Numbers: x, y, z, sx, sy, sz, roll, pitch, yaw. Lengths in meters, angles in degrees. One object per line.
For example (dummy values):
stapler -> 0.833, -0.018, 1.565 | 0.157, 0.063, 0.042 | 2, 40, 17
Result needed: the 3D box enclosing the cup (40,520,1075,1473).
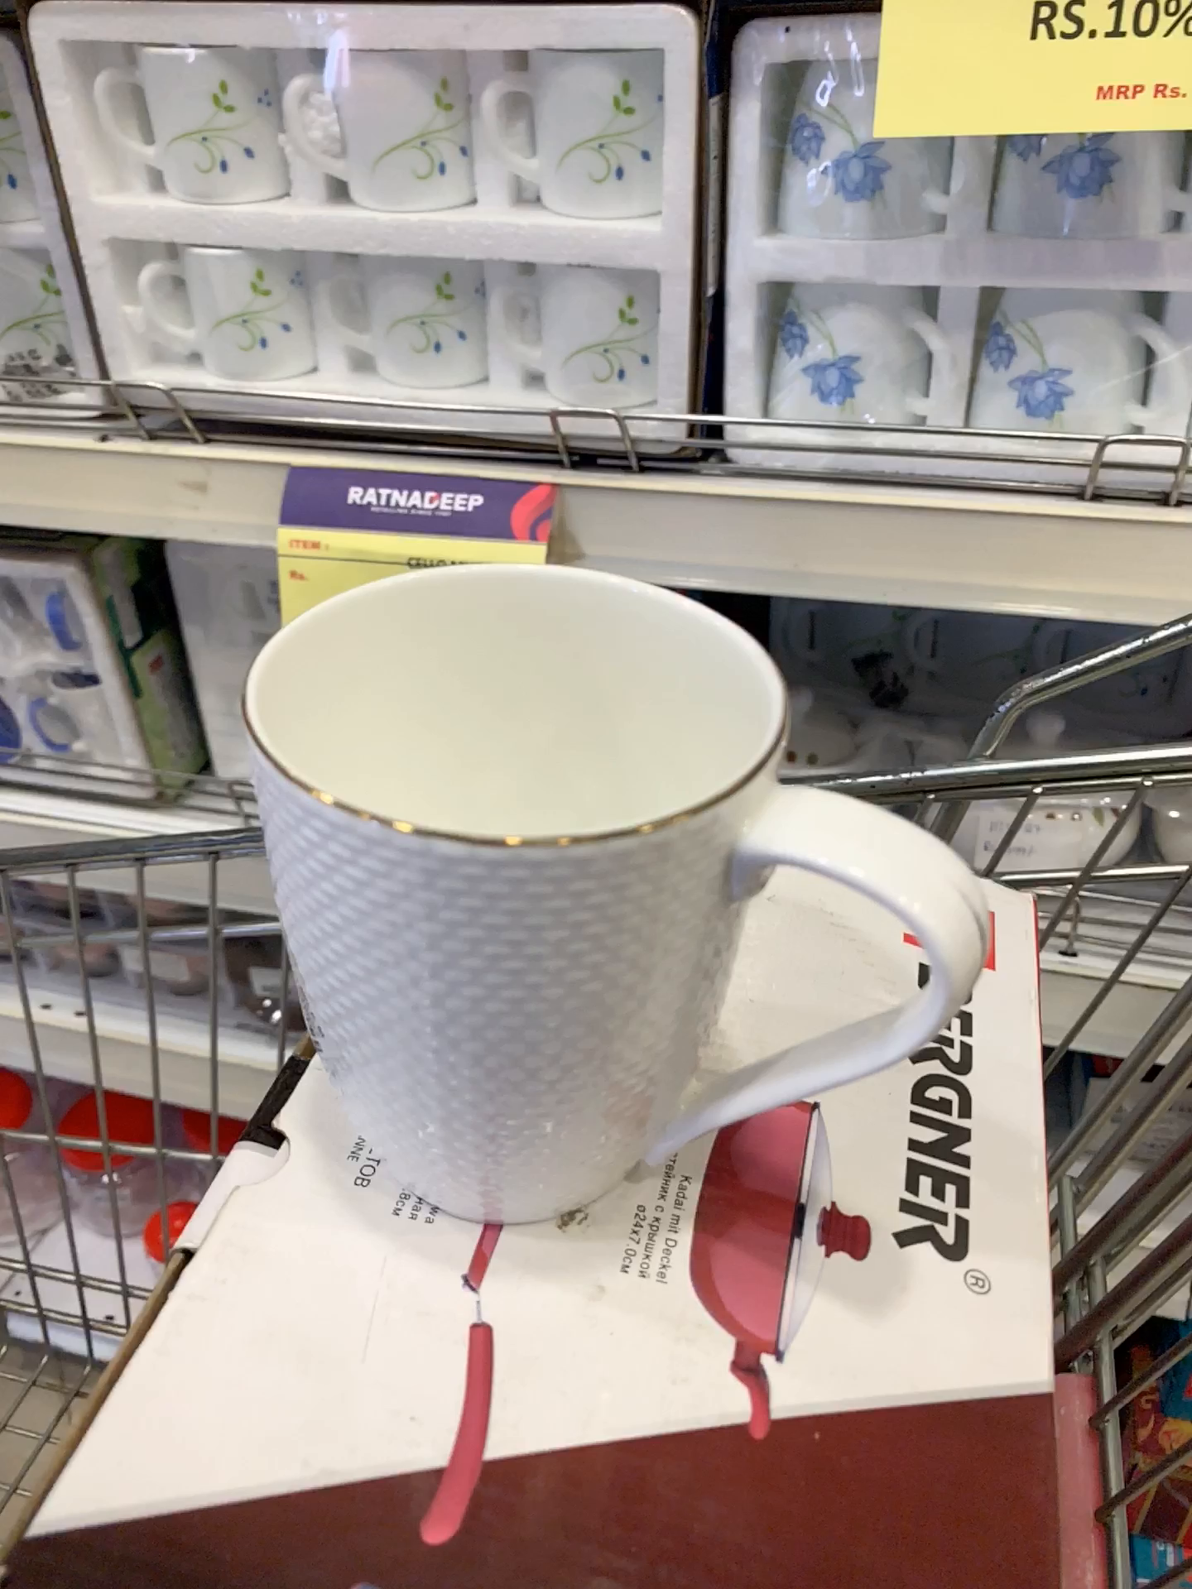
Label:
cup -> -0.002, 0.020, 0.200 | 0.120, 0.080, 0.090 | 17, 39, 23
